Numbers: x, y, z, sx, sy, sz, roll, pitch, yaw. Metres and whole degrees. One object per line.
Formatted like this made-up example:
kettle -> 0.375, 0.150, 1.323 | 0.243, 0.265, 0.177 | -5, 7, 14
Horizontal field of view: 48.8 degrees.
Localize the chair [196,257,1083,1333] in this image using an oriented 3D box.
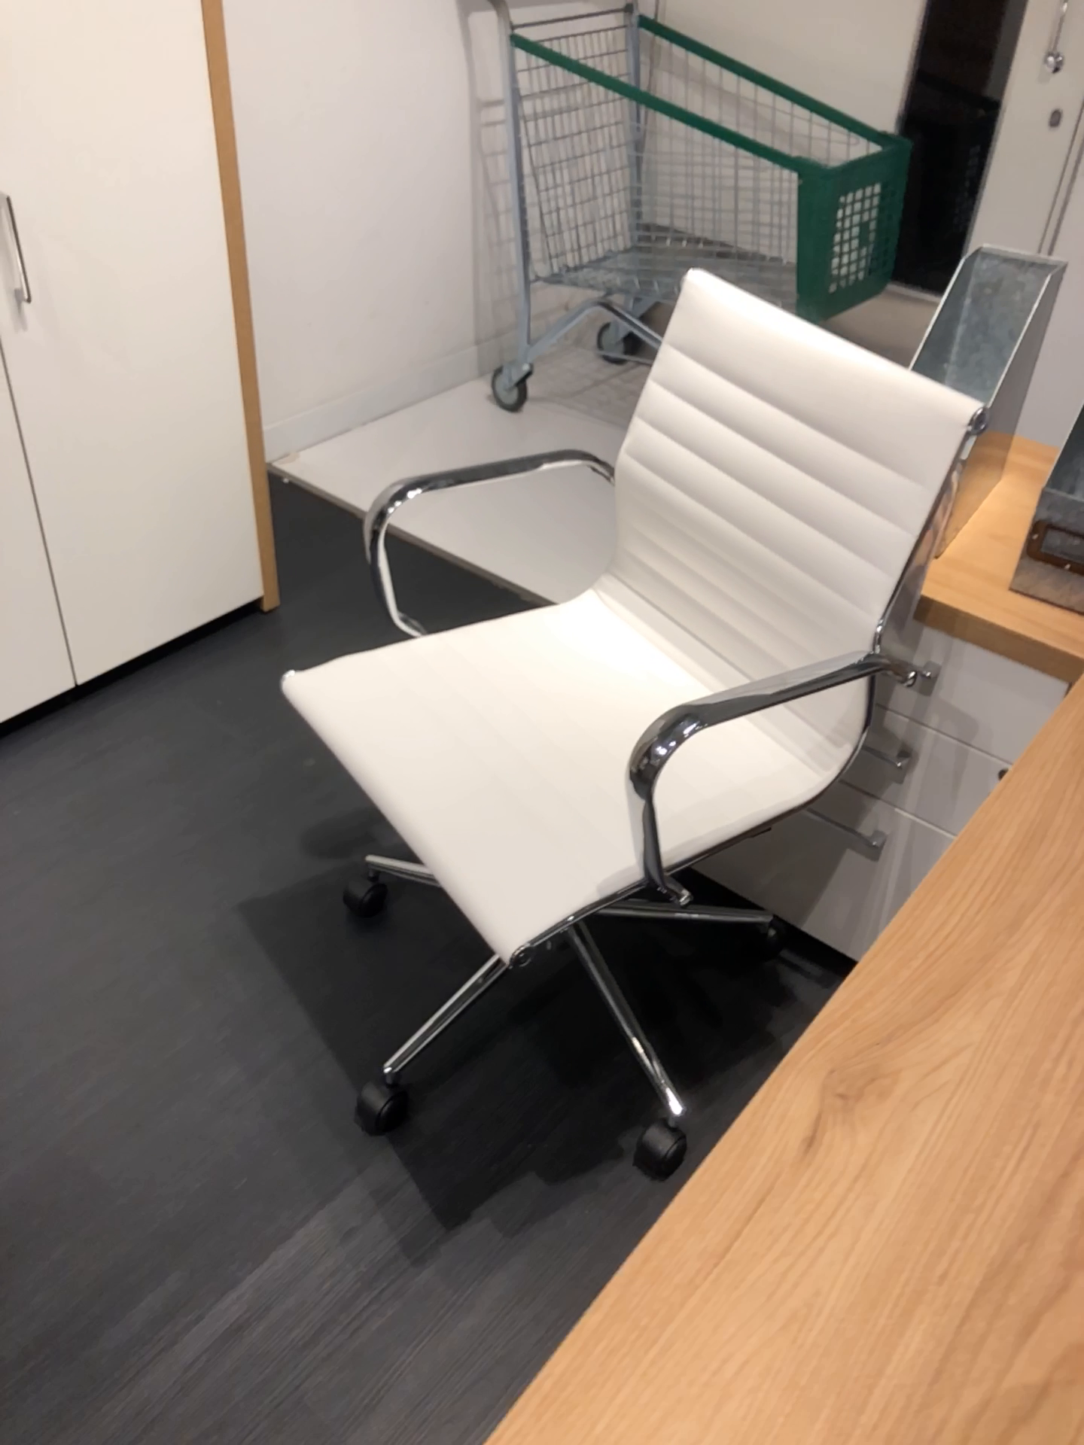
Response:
chair -> 0.107, 0.047, 1.488 | 0.762, 0.952, 0.654 | -18, 43, -26
